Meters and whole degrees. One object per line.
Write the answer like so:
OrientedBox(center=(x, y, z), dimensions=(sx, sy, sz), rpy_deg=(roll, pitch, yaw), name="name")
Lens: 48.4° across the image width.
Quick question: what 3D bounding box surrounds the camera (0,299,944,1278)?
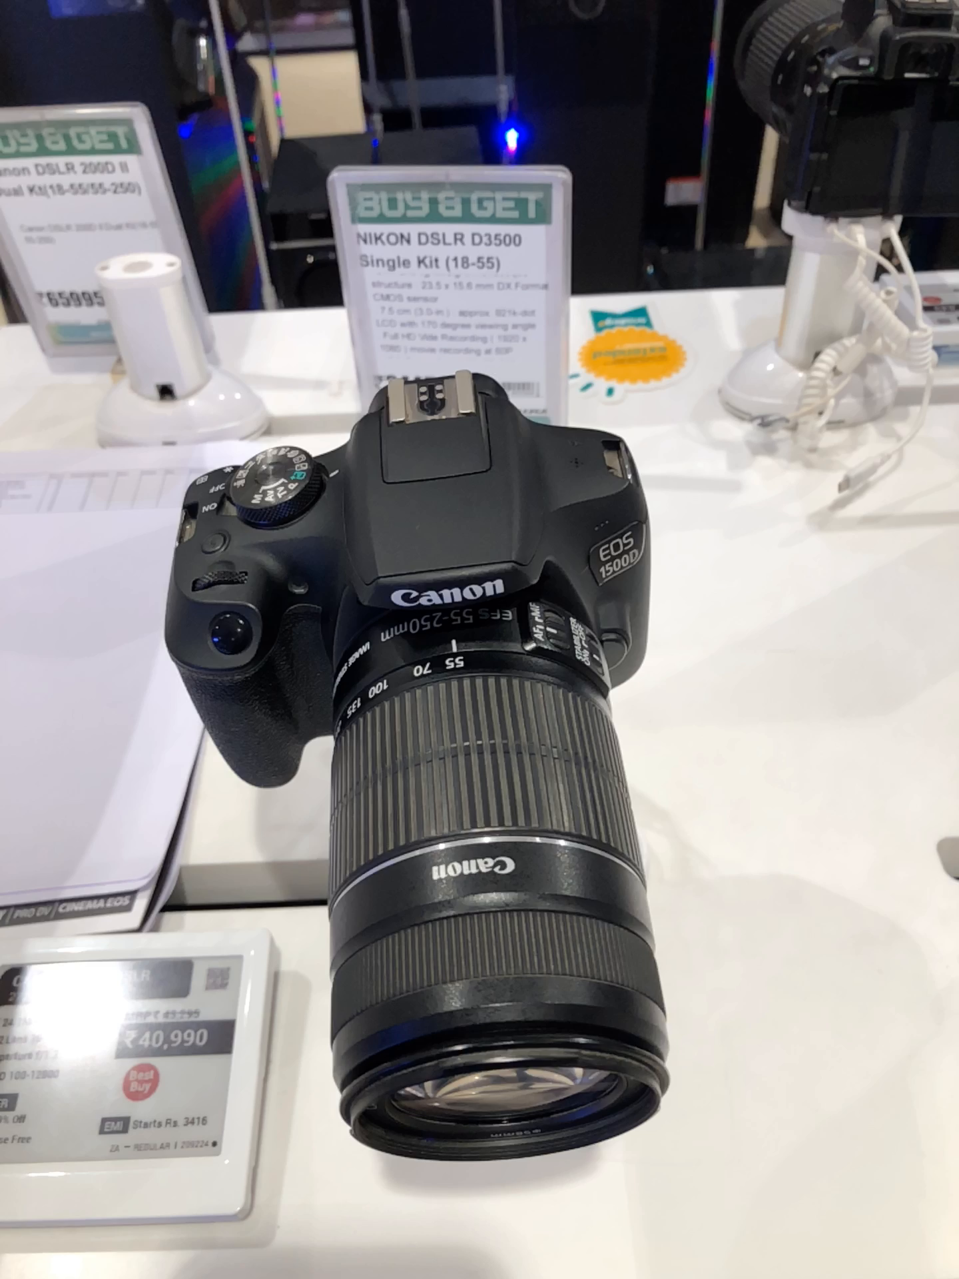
OrientedBox(center=(-0.013, 0.016, 0.253), dimensions=(0.140, 0.089, 0.201), rpy_deg=(-7, 45, -3), name="camera")
